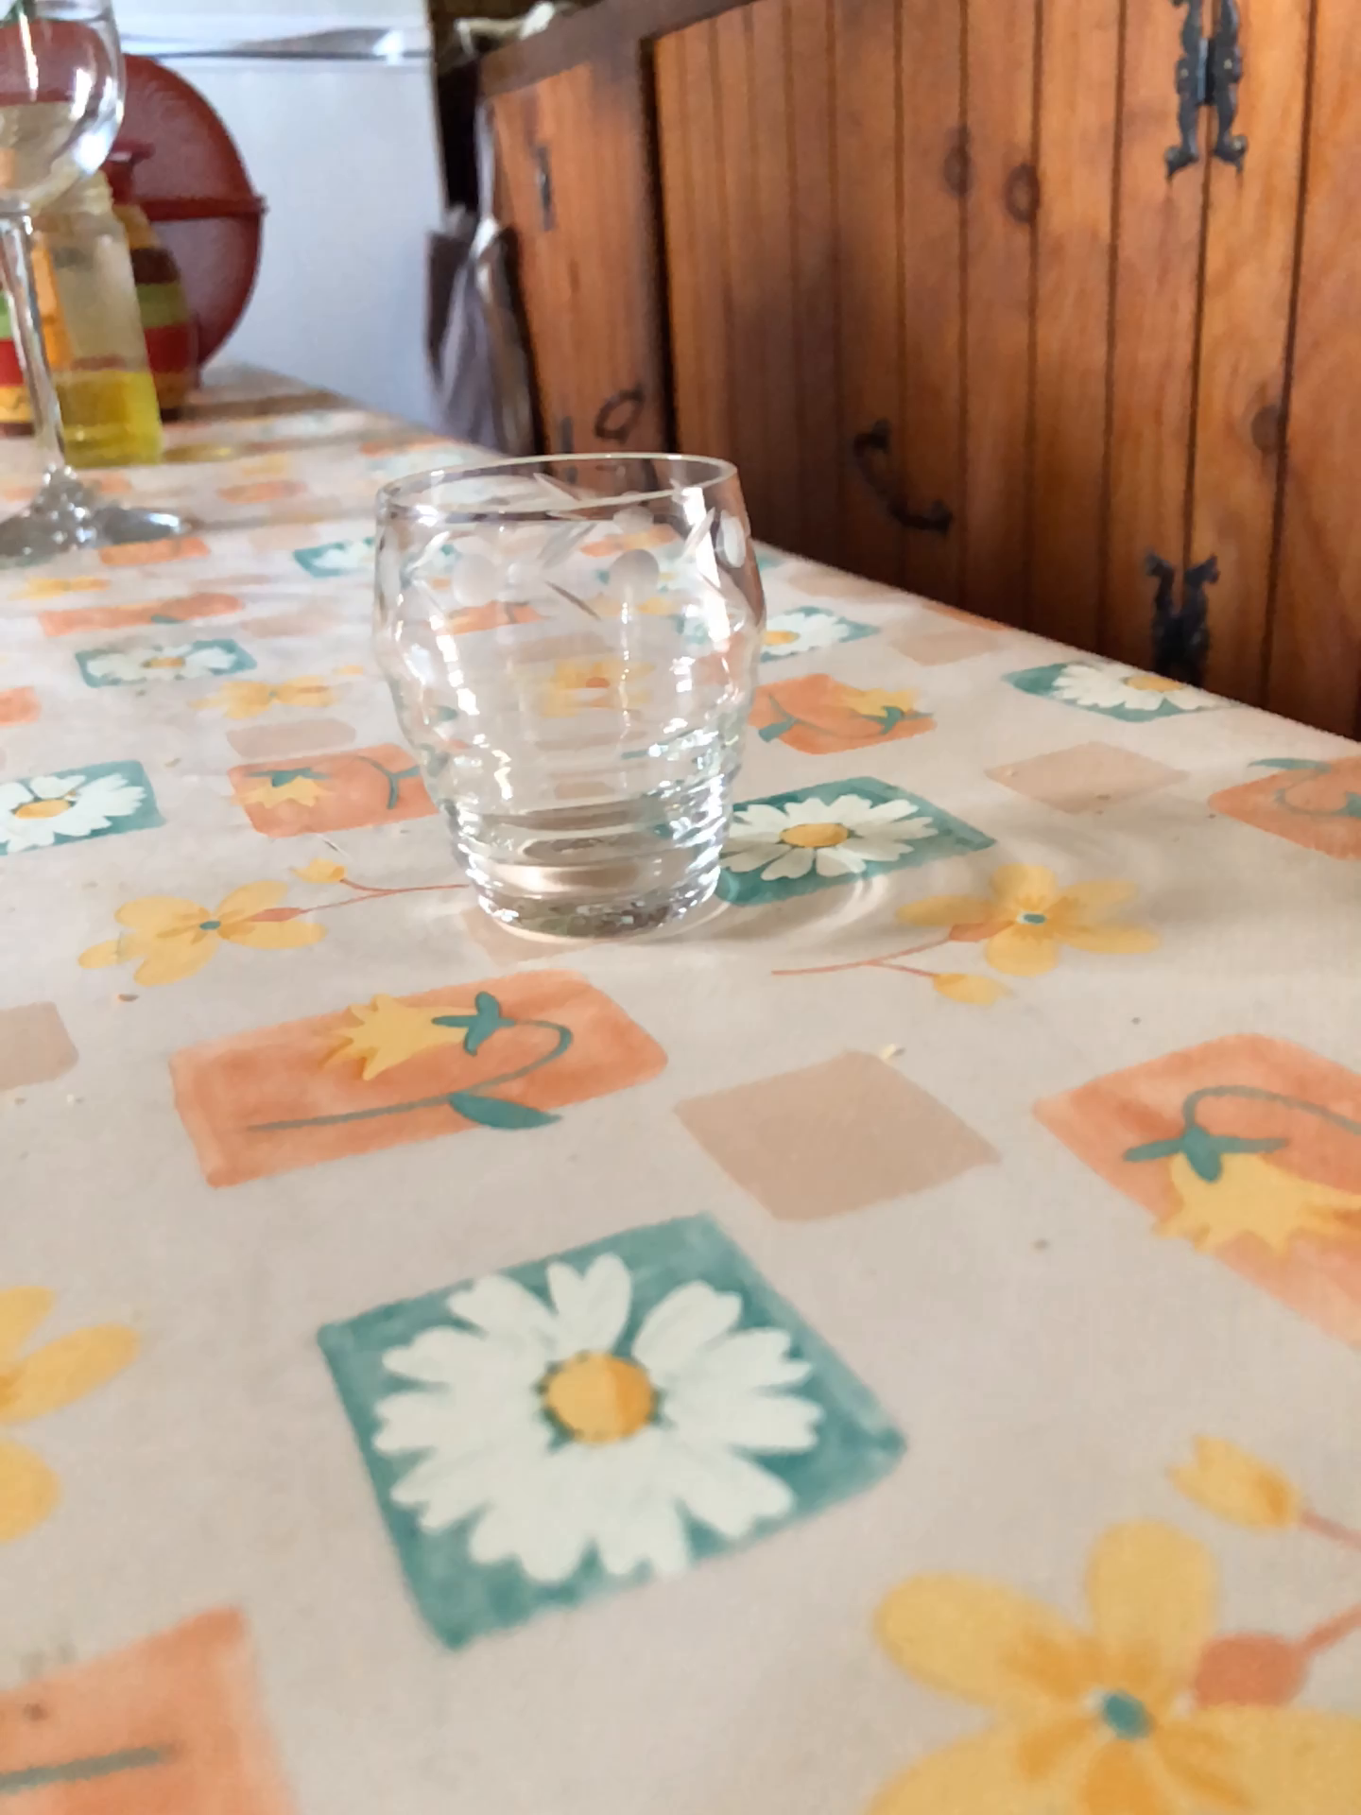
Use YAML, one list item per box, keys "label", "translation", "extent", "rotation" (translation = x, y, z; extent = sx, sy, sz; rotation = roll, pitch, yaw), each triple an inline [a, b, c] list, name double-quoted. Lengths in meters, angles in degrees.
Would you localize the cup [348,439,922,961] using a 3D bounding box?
- label: "cup"
  translation: [-0.008, -0.032, 0.204]
  extent: [0.060, 0.050, 0.060]
  rotation: [-2, 23, 1]
